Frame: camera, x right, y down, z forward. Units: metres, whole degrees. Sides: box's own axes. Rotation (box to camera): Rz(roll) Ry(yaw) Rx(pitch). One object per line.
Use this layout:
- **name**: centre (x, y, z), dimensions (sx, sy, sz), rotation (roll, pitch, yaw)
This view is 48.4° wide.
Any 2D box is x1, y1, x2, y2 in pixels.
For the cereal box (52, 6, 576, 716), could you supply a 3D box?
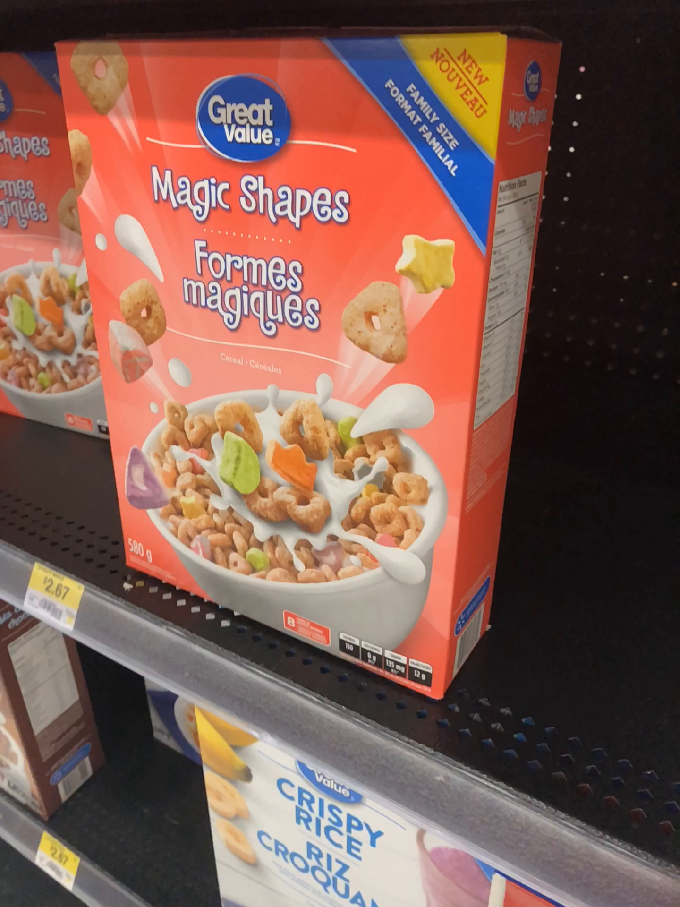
- **cereal box**: centre (-0.026, -0.053, 0.436), dimensions (0.250, 0.339, 0.080), rotation (16, 29, 29)
